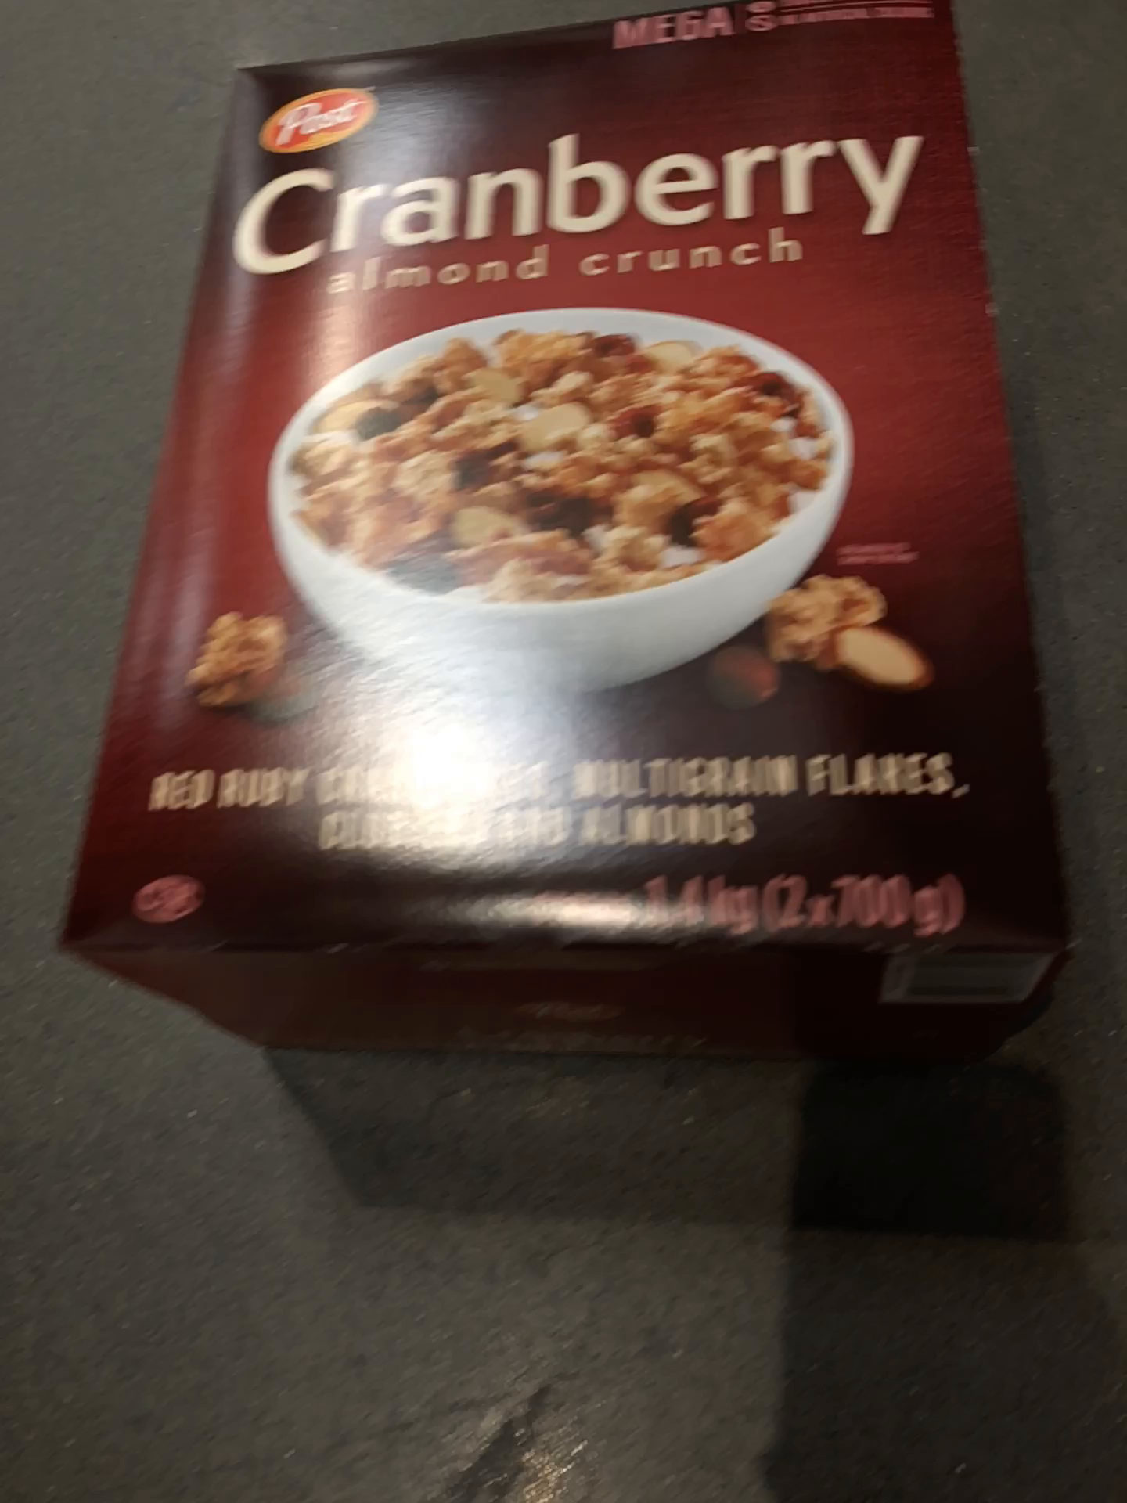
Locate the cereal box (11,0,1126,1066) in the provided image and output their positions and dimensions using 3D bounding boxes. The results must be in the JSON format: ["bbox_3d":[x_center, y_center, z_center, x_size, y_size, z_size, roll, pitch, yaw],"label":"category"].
[{"bbox_3d":[0.010,-0.073,0.391,0.260,0.130,0.310,-3,66,8],"label":"cereal box"}]
